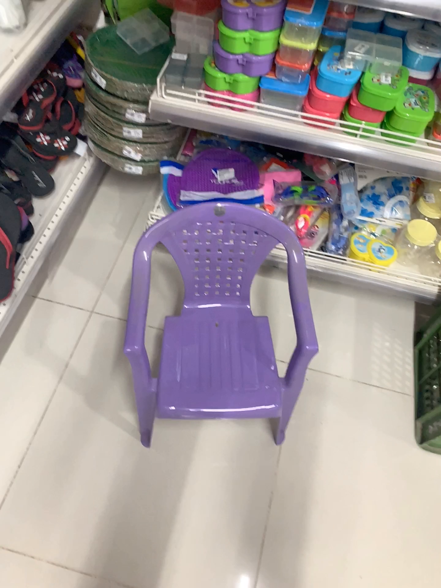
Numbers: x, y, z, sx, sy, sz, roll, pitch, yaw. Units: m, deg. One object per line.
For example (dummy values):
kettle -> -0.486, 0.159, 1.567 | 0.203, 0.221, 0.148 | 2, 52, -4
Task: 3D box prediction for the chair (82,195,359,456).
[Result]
chair -> -0.016, 0.087, 0.964 | 0.420, 0.429, 0.401 | -1, 59, -4
